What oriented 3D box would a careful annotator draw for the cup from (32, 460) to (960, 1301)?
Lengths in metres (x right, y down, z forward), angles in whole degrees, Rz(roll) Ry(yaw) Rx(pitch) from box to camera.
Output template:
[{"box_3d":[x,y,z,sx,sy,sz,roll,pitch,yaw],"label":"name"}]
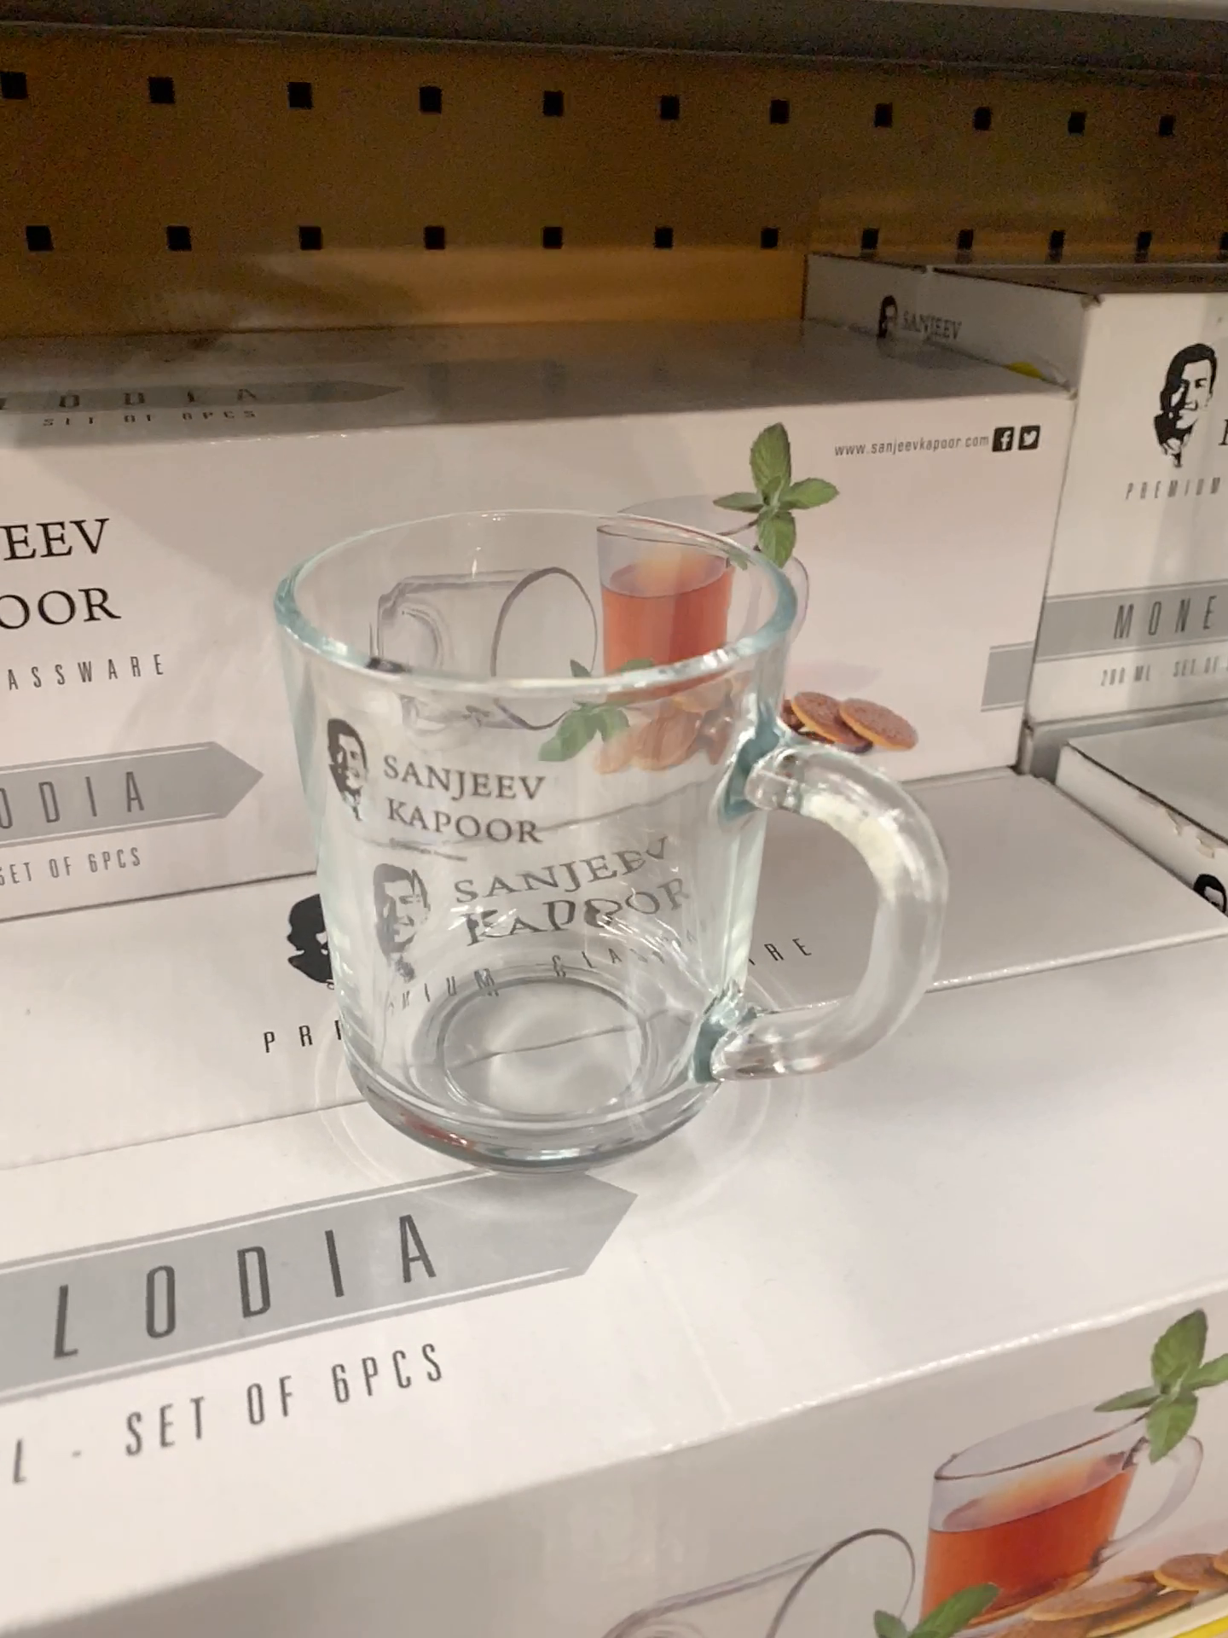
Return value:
[{"box_3d":[-0.011,0.000,0.184,0.100,0.080,0.070,11,28,17],"label":"cup"}]
